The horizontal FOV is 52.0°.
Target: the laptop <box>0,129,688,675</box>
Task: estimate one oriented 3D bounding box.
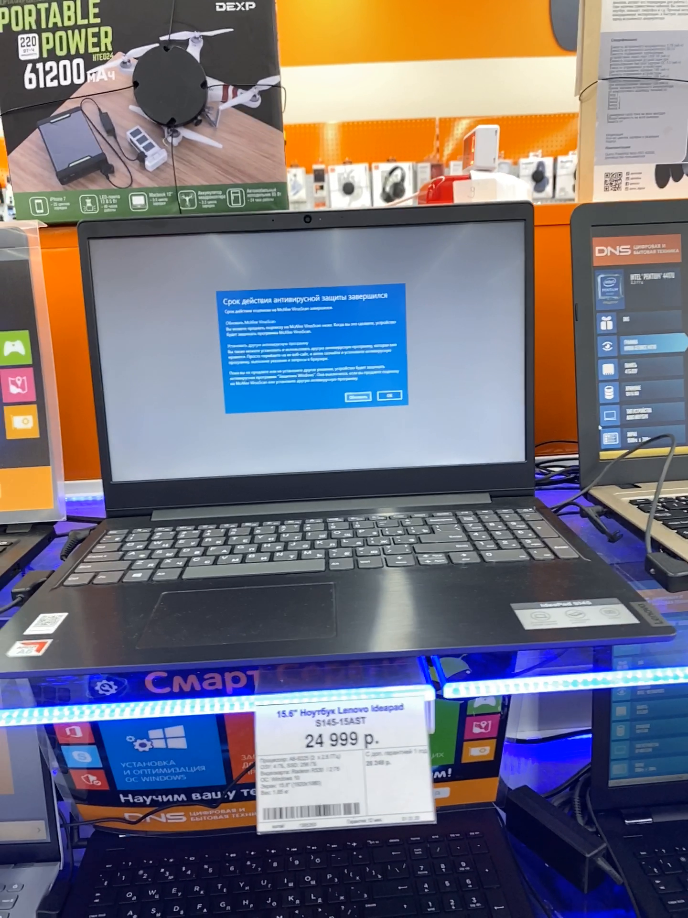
[{"bbox_3d":[-0.019,-0.049,0.468,0.361,0.240,0.273,-3,13,-1],"label":"laptop"}]
